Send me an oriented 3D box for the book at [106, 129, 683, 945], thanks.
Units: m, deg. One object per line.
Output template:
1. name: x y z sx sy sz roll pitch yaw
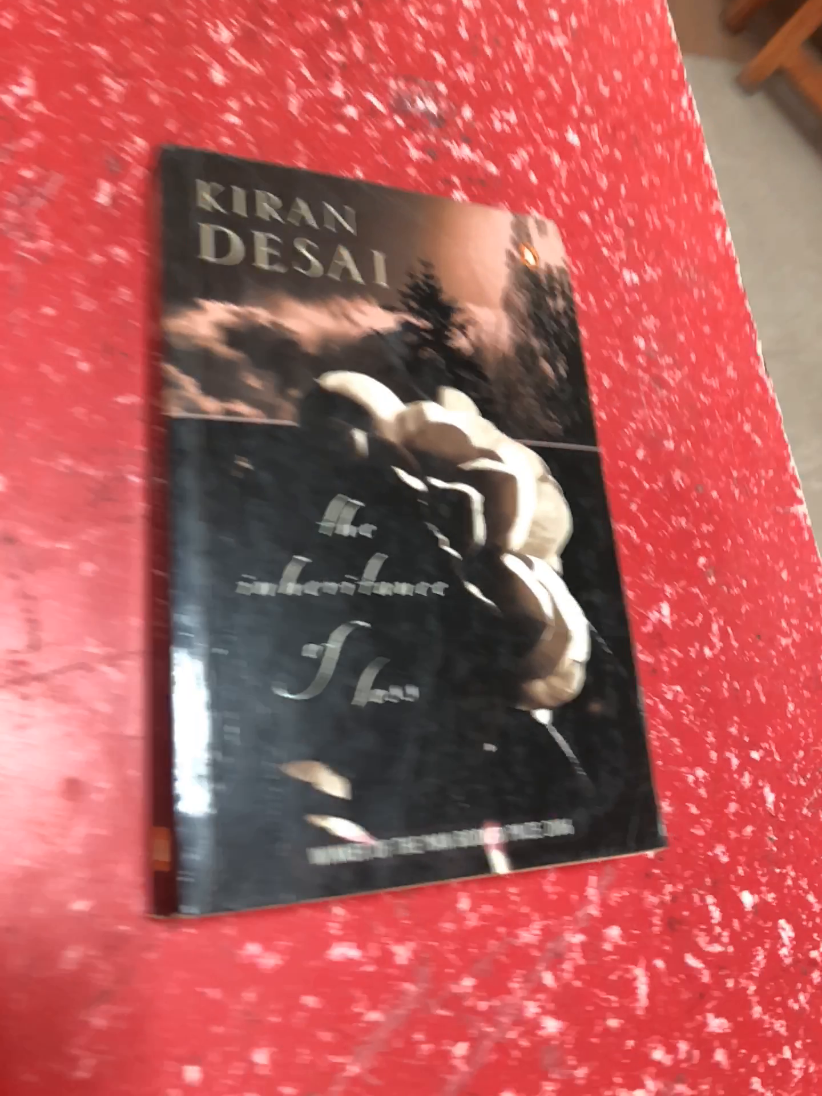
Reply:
1. book: -0.013 -0.004 0.256 0.130 0.060 0.190 1 72 -24
